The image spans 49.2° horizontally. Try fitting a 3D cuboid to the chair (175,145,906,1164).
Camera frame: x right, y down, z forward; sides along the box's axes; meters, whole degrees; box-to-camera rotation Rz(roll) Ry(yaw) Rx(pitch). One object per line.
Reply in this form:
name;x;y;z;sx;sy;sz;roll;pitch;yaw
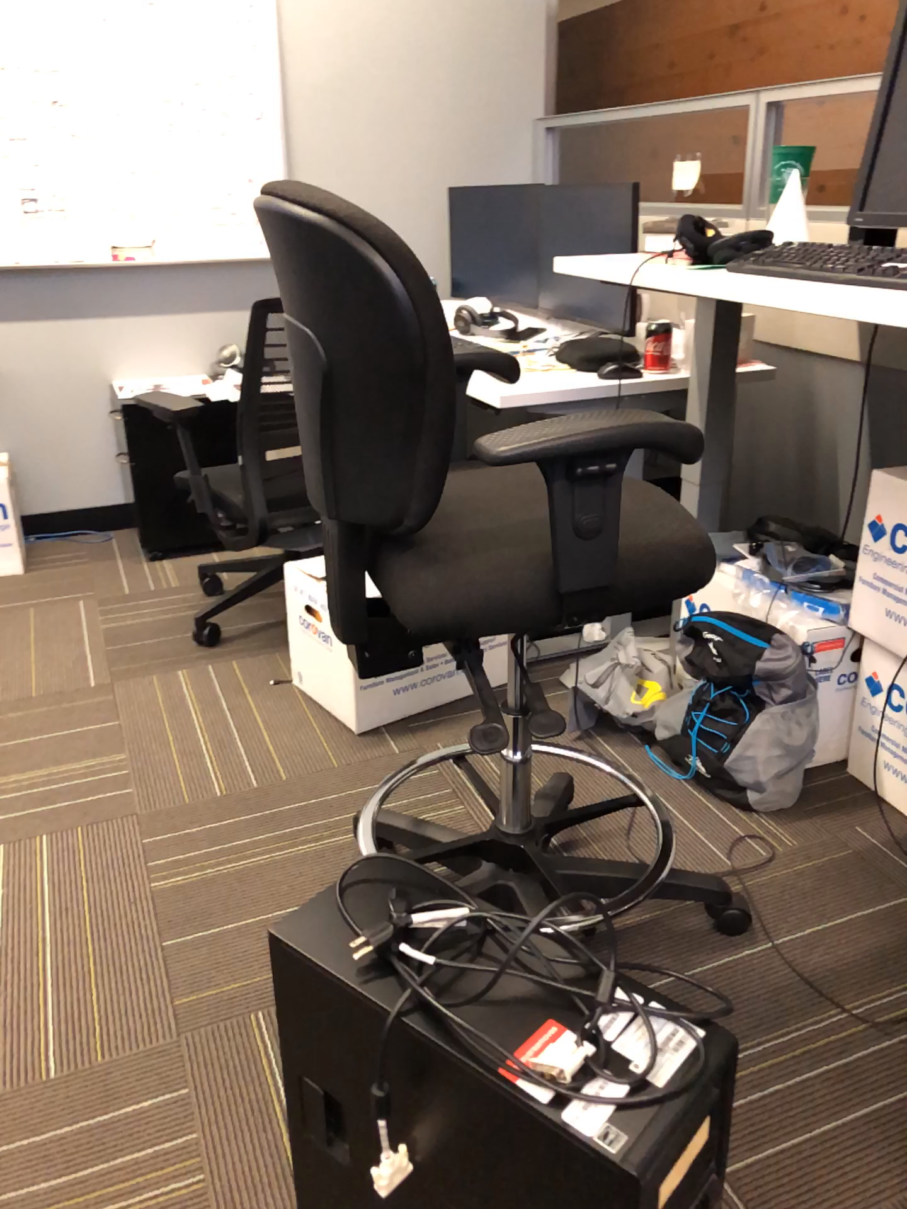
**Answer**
chair;0.073;-0.002;1.385;0.730;1.134;0.643;-8;23;-16
